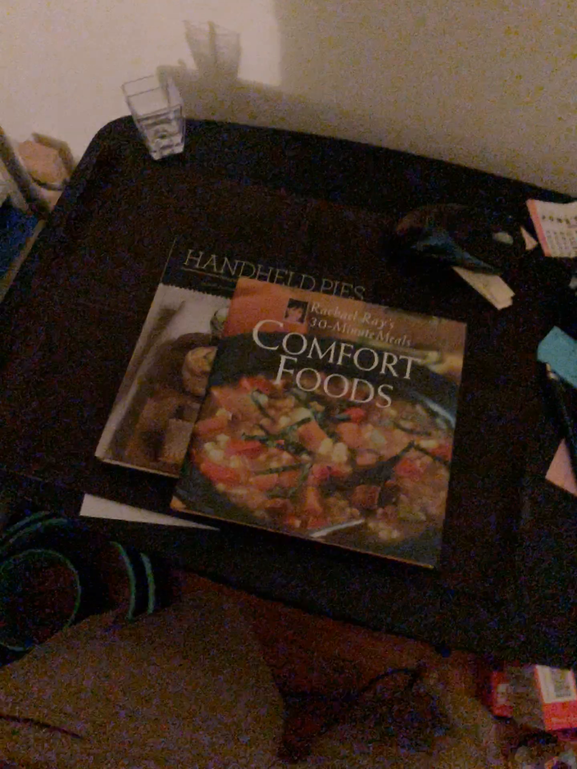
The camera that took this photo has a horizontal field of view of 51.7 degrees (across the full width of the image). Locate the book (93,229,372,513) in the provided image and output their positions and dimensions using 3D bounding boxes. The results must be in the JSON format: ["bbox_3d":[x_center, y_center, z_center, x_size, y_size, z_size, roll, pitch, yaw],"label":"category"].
[{"bbox_3d":[-0.038,-0.021,0.504,0.180,0.020,0.220,12,67,4],"label":"book"}]

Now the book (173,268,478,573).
[{"bbox_3d":[0.037,0.018,0.471,0.200,0.020,0.210,12,67,4],"label":"book"}]
